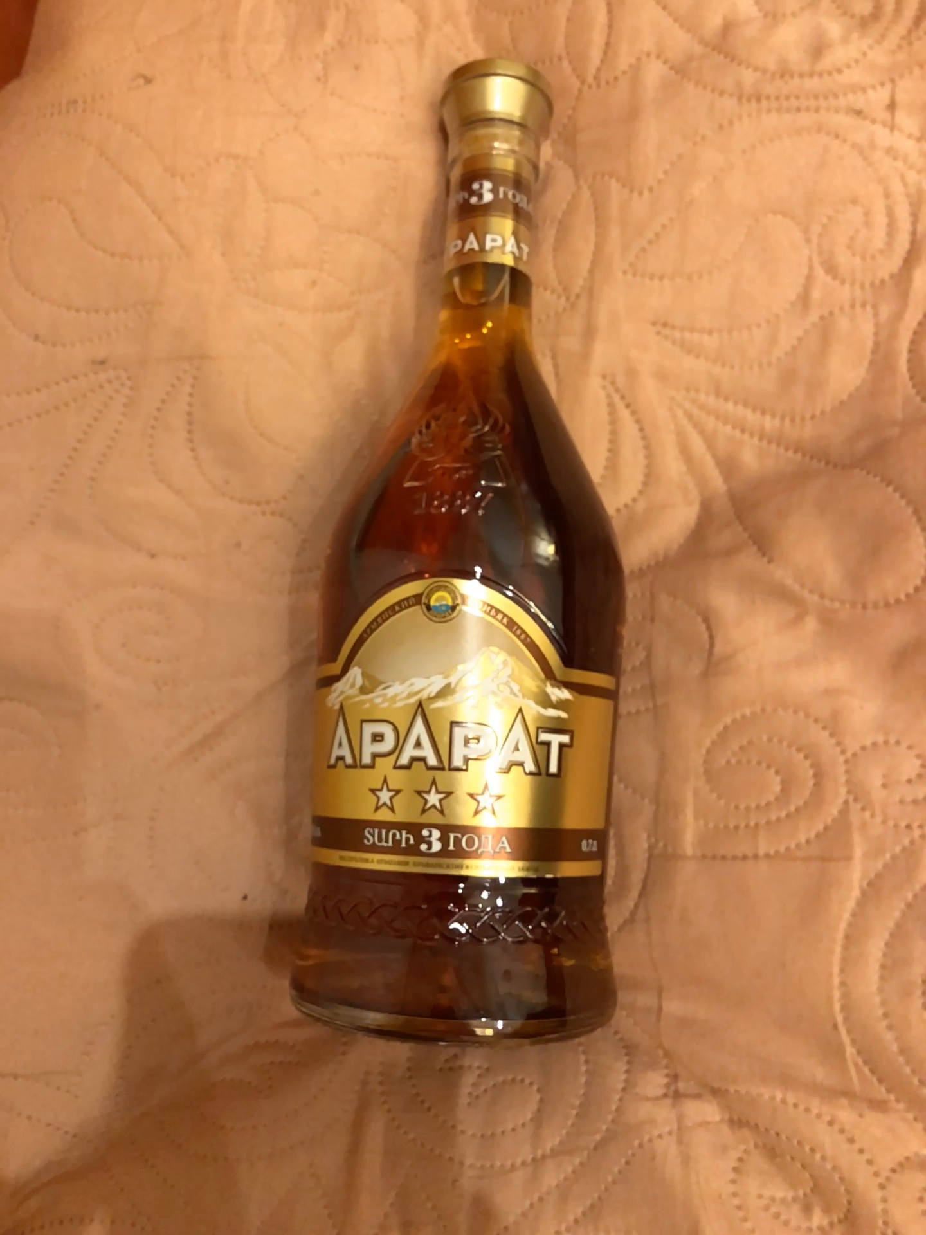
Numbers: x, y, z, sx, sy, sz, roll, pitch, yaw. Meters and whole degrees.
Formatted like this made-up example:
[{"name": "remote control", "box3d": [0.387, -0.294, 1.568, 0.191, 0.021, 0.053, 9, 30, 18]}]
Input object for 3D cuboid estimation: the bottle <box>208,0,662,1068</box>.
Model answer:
[{"name": "bottle", "box3d": [0.004, -0.024, 0.291, 0.090, 0.090, 0.258, -2, 76, 18]}]
